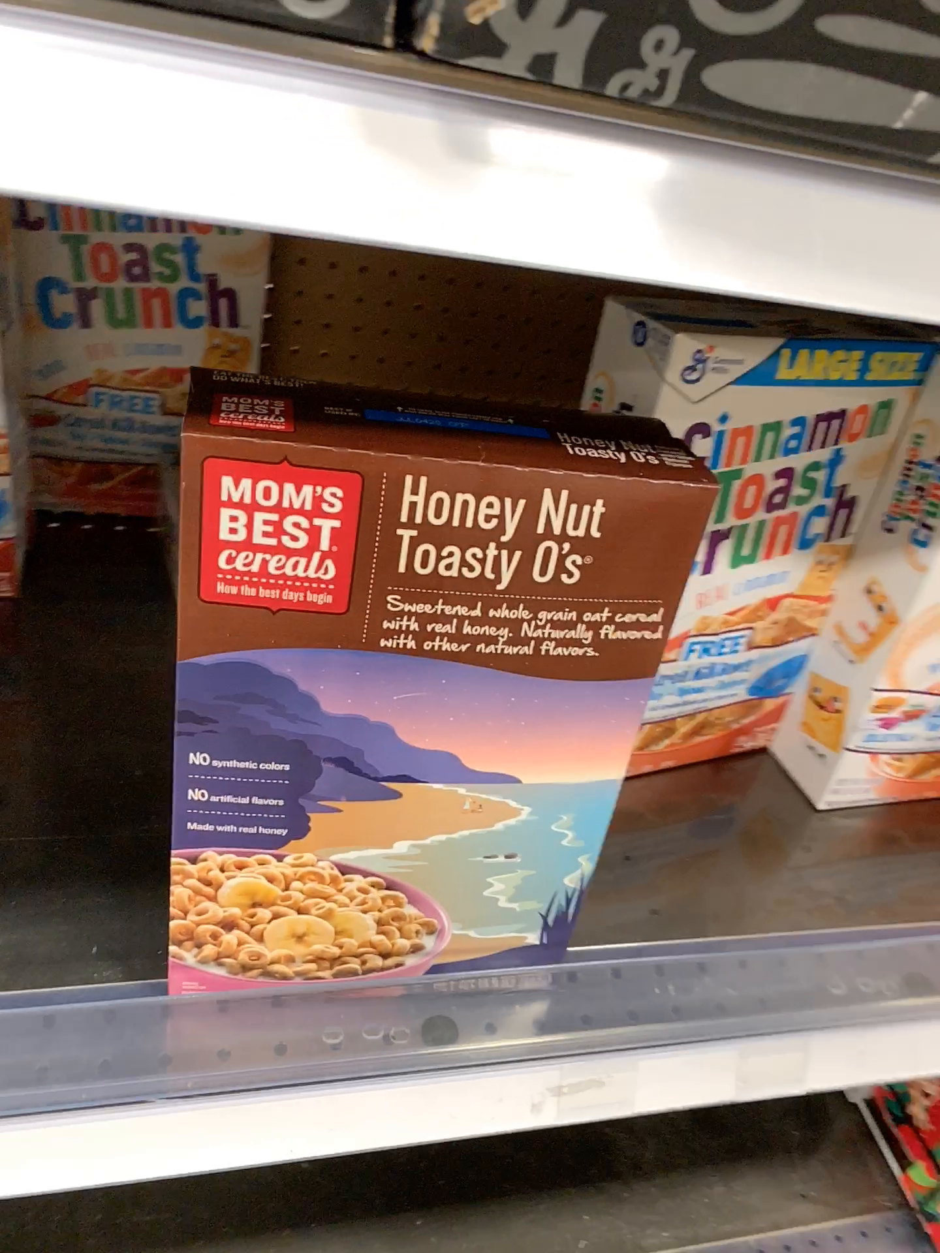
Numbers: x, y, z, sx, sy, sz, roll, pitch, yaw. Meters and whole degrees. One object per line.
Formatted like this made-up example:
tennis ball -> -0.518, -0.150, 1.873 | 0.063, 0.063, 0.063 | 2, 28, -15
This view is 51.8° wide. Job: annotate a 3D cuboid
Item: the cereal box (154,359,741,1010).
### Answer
cereal box -> -0.030, 0.042, 0.423 | 0.200, 0.279, 0.070 | 3, 32, -15
